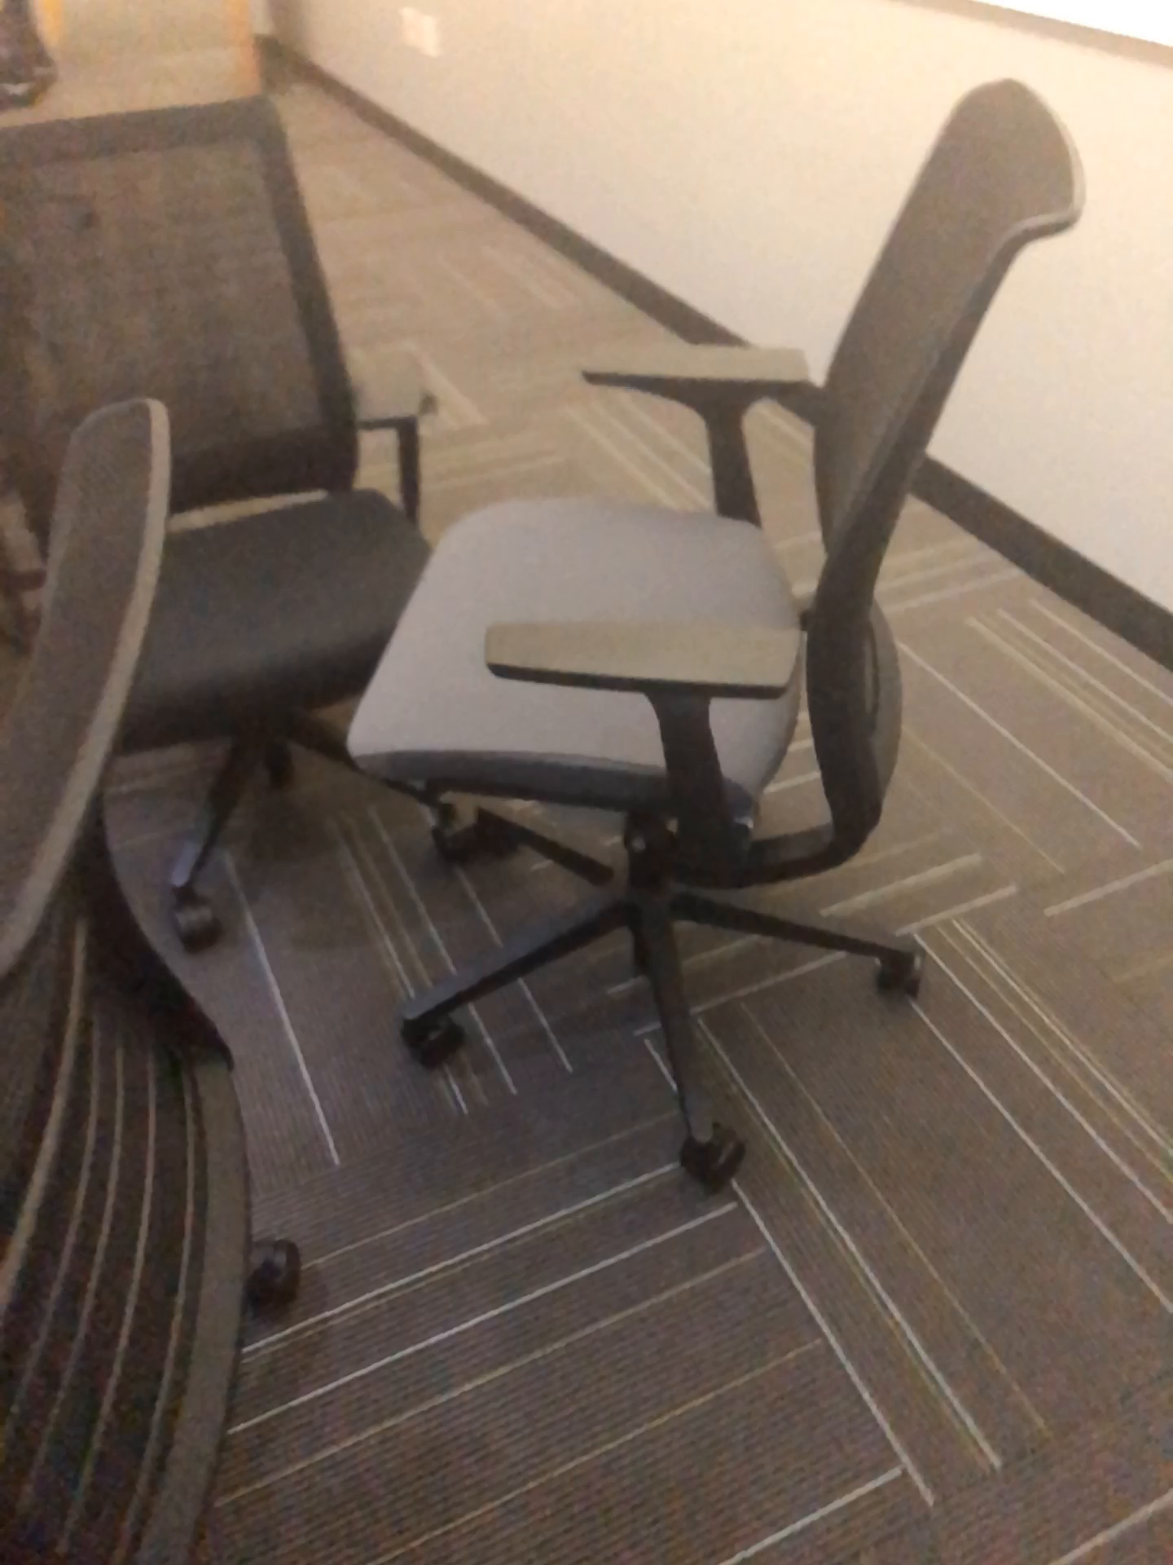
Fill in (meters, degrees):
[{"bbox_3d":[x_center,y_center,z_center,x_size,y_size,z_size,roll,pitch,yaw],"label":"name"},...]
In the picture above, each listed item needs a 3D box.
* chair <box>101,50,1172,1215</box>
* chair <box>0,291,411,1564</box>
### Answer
[{"bbox_3d":[0.094,-0.168,1.387,0.710,0.962,0.726,3,38,6],"label":"chair"},{"bbox_3d":[-0.528,0.334,0.778,0.720,0.962,0.736,-4,38,-3],"label":"chair"}]
